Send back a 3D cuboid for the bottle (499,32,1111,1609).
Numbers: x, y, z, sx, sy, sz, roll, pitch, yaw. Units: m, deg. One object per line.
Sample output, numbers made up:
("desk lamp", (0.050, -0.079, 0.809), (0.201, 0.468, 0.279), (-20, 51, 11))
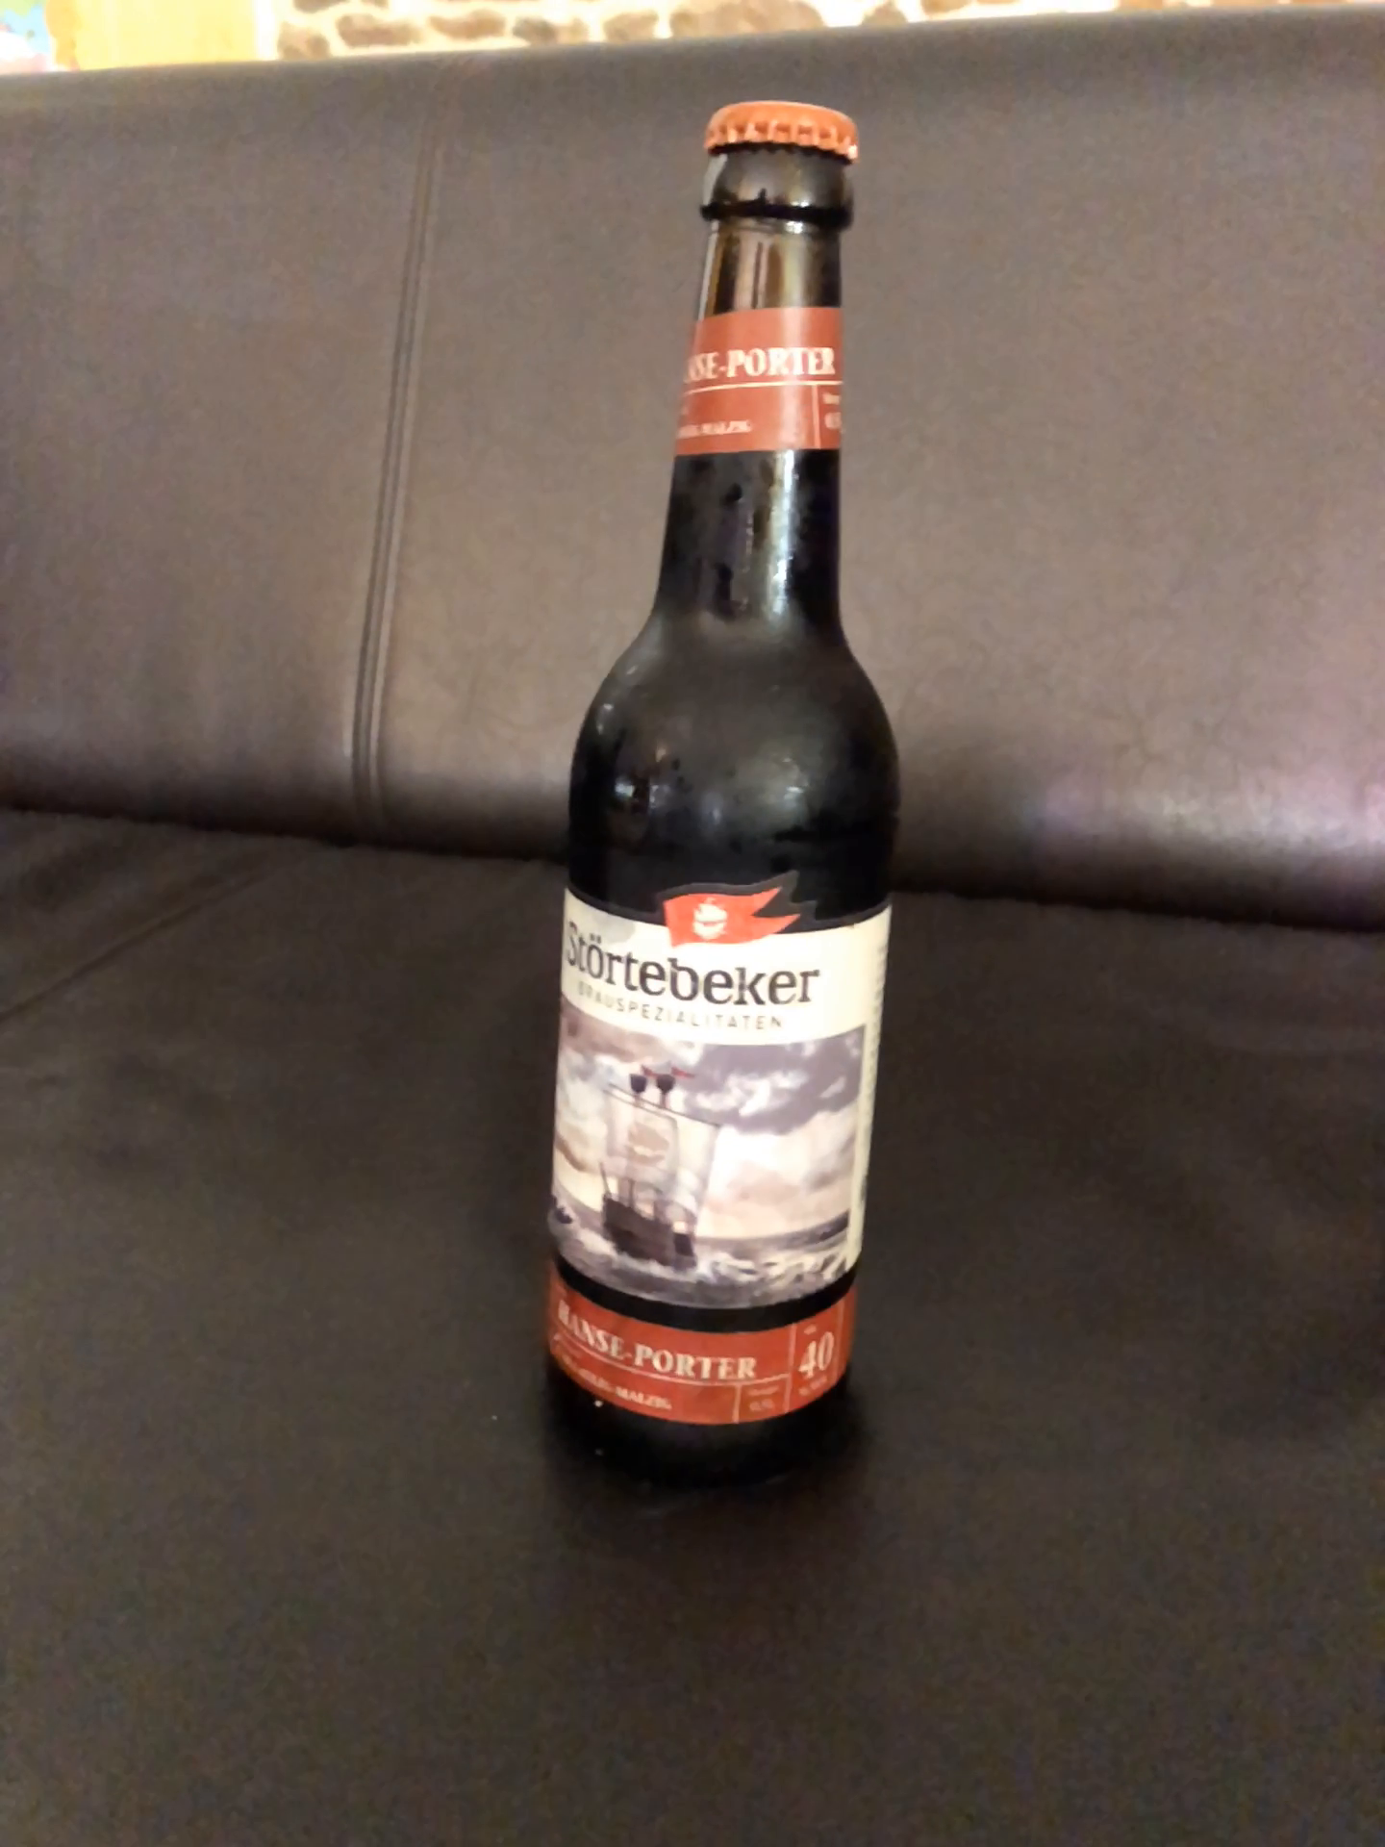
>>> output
("bottle", (0.018, -0.014, 0.315), (0.080, 0.279, 0.080), (2, 18, -1))
